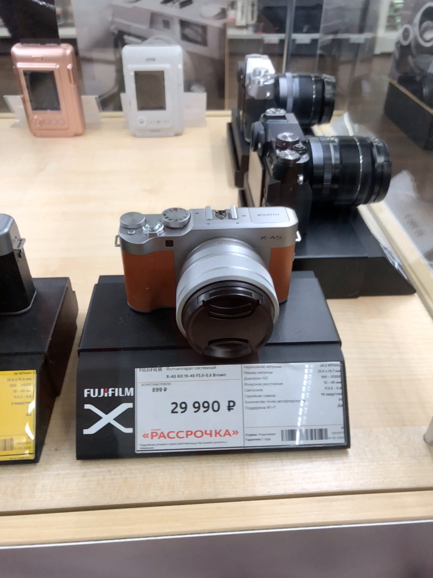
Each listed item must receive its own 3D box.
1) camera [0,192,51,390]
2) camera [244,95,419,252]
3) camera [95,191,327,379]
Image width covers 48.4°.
[{"bbox_3d":[-0.180,-0.003,0.294,0.121,0.075,0.093,-2,37,-4],"label":"camera"},{"bbox_3d":[0.090,-0.109,0.434,0.112,0.090,0.131,-2,37,-3],"label":"camera"},{"bbox_3d":[-0.006,-0.006,0.309,0.121,0.075,0.093,-2,37,-4],"label":"camera"}]
